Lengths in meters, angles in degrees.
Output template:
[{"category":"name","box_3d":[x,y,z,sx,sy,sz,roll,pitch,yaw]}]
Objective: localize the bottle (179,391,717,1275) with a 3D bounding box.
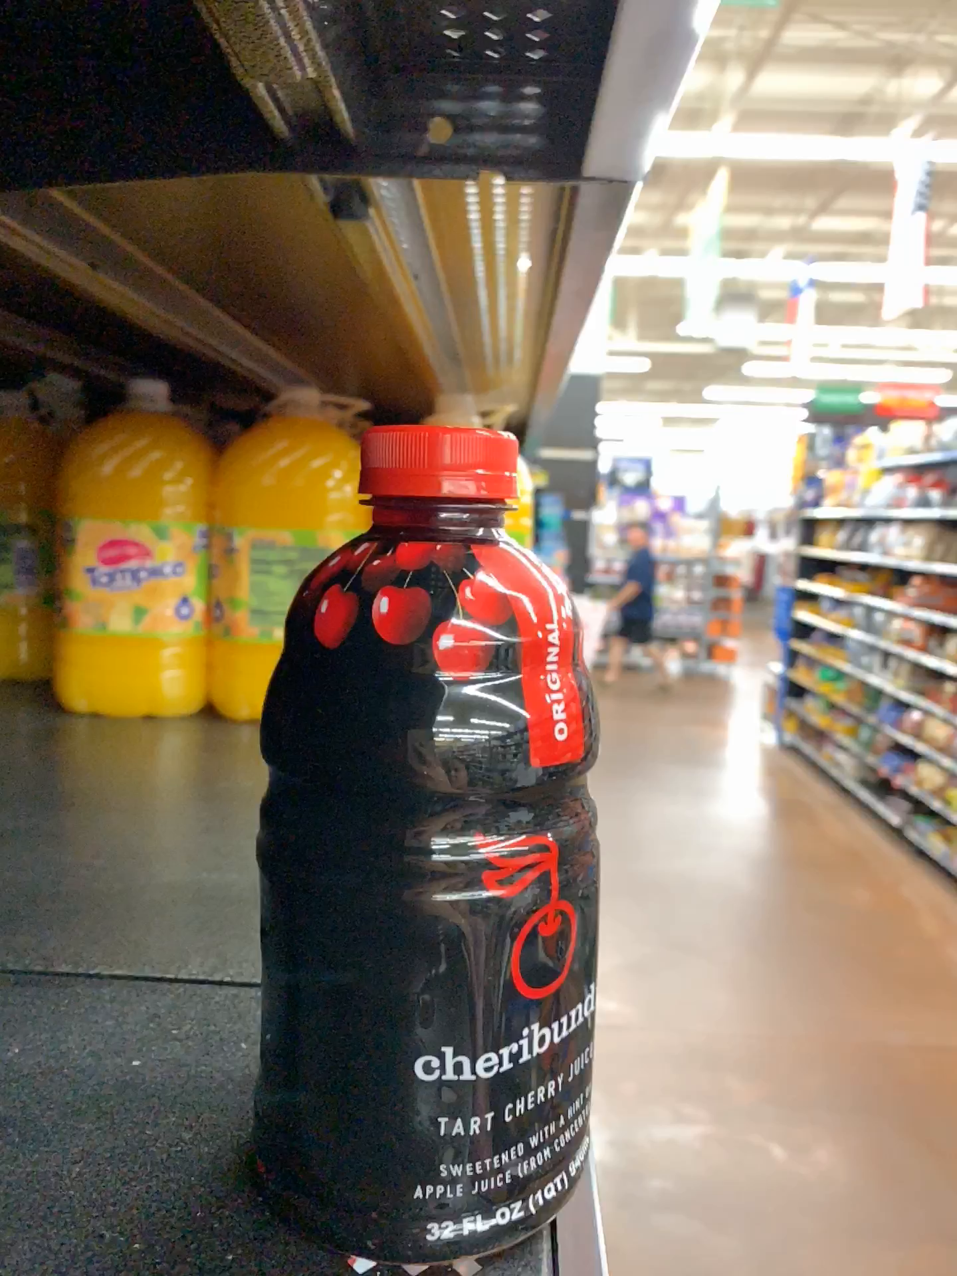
[{"category":"bottle","box_3d":[-0.011,0.047,0.264,0.095,0.205,0.090,3,7,0]}]
